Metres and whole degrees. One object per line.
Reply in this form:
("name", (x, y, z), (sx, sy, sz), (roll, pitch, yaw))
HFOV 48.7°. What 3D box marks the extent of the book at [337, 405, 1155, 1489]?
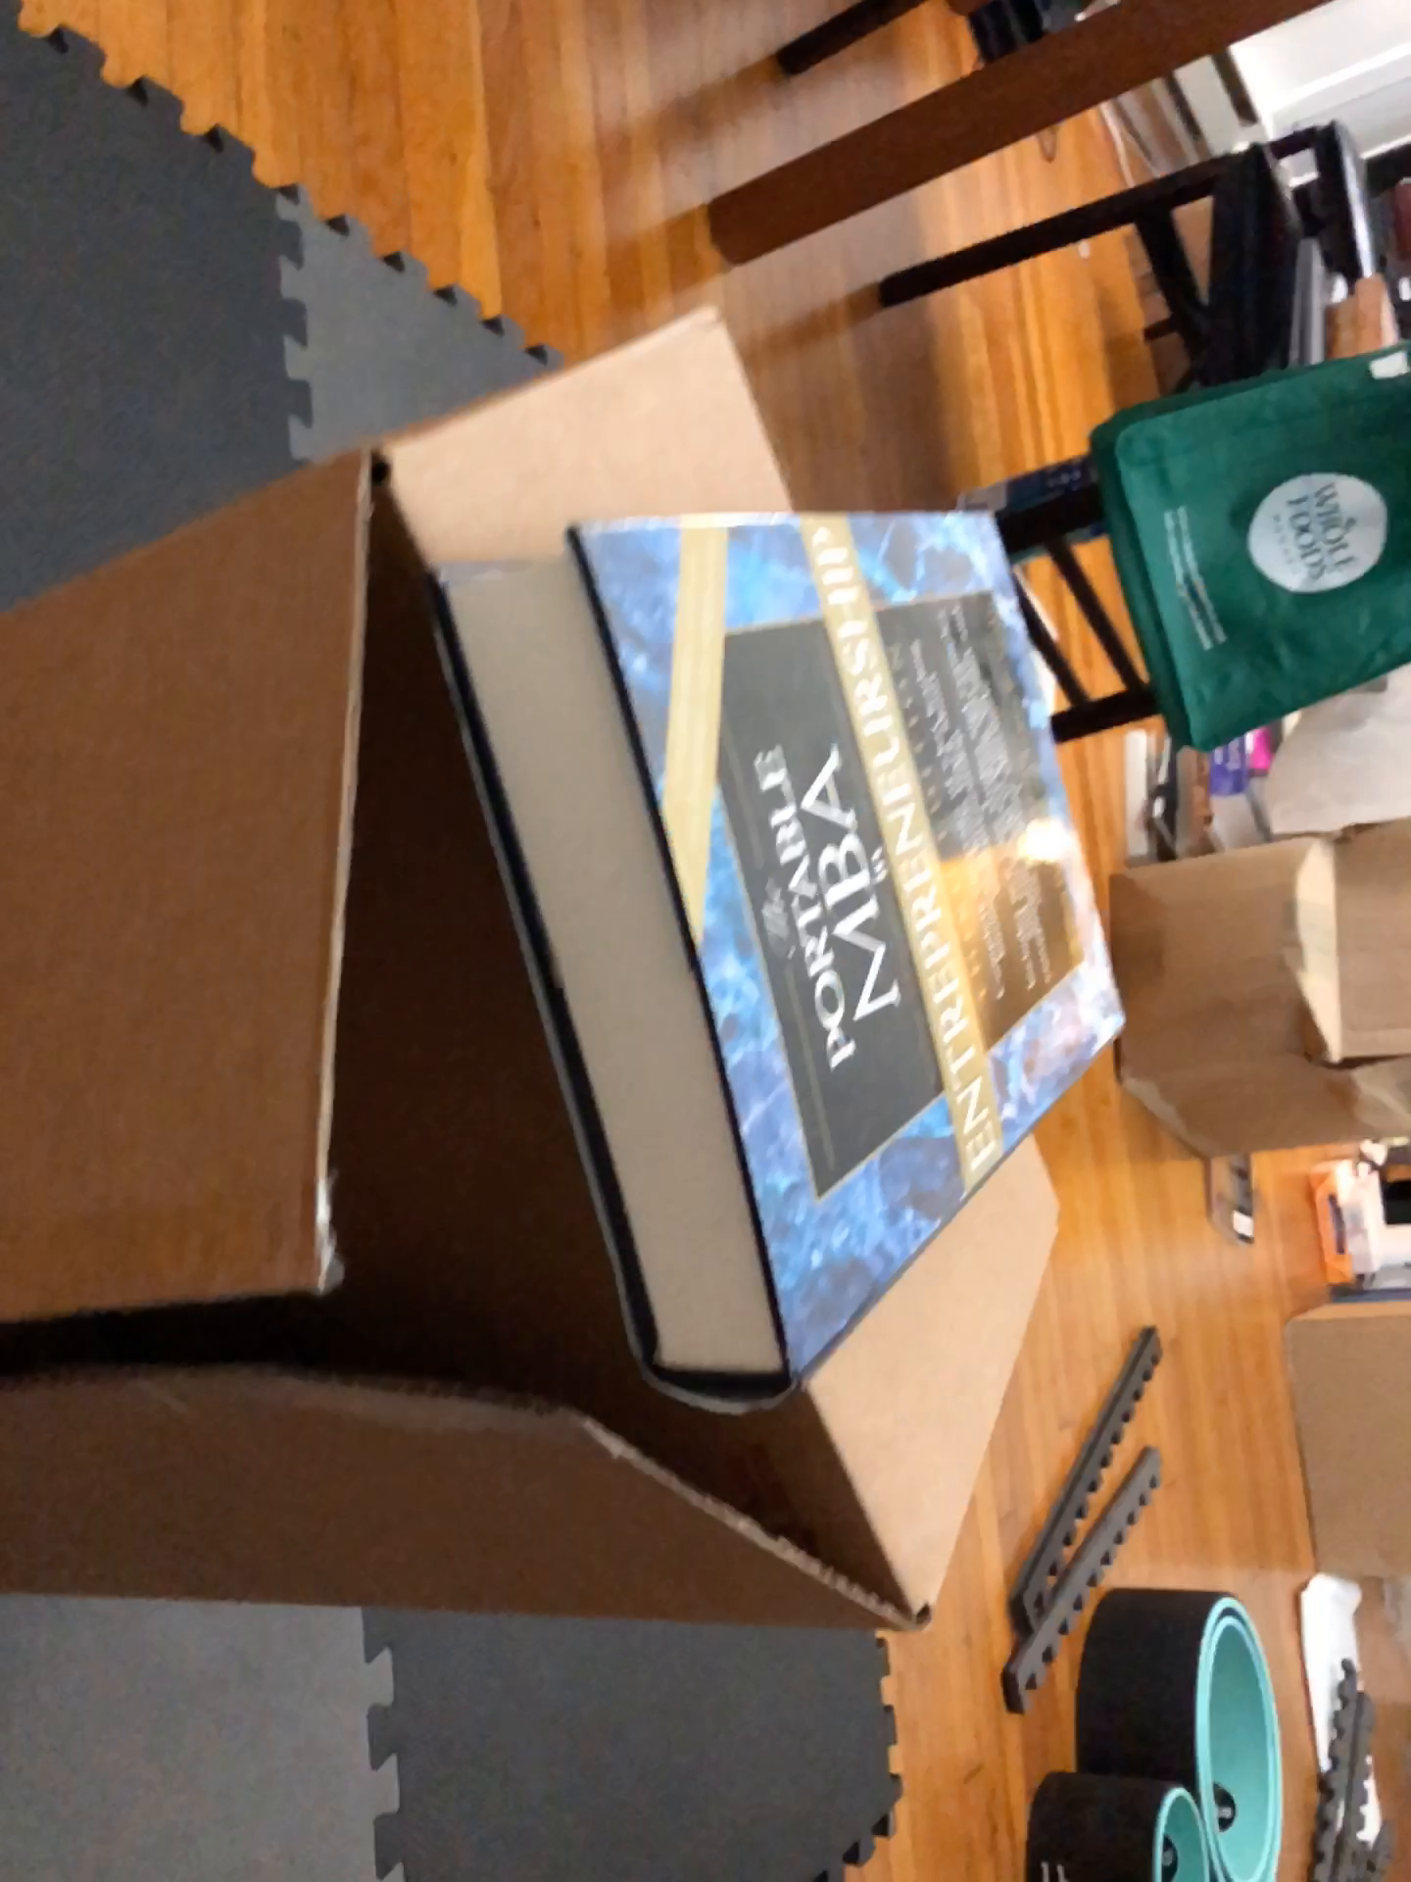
("book", (0.042, -0.022, 0.420), (0.272, 0.060, 0.210), (-29, 106, -60))
